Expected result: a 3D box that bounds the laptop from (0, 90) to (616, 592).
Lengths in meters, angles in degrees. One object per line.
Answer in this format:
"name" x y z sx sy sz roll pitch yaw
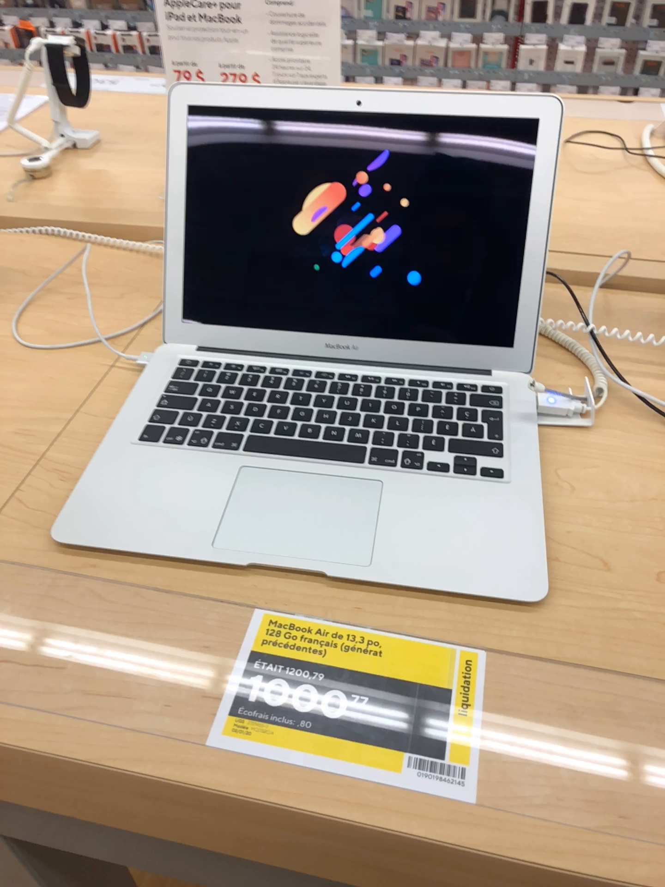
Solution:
"laptop" -0.005 -0.098 0.511 0.305 0.186 0.326 5 40 6
